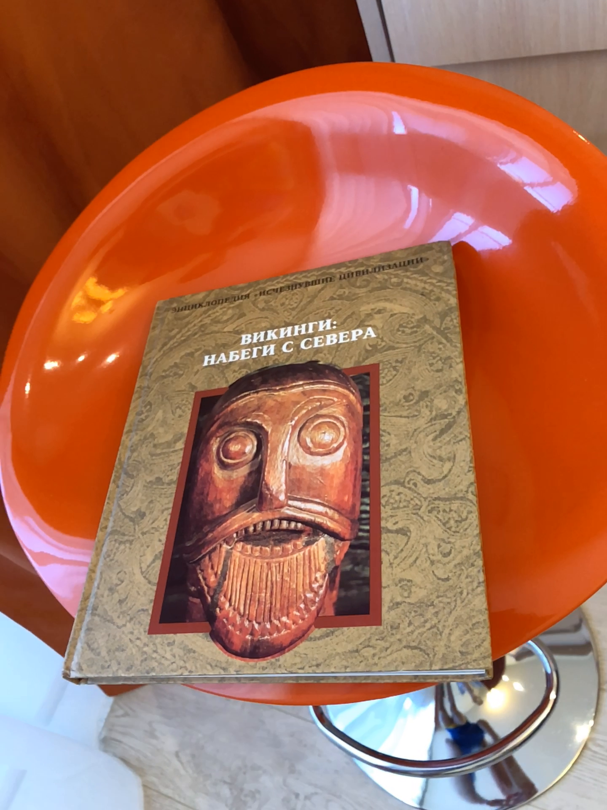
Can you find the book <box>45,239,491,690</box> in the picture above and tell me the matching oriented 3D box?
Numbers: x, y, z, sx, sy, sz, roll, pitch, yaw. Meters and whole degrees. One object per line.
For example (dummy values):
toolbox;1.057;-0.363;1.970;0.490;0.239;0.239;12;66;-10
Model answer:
book;-0.015;0.022;0.387;0.215;0.022;0.261;-8;53;18
